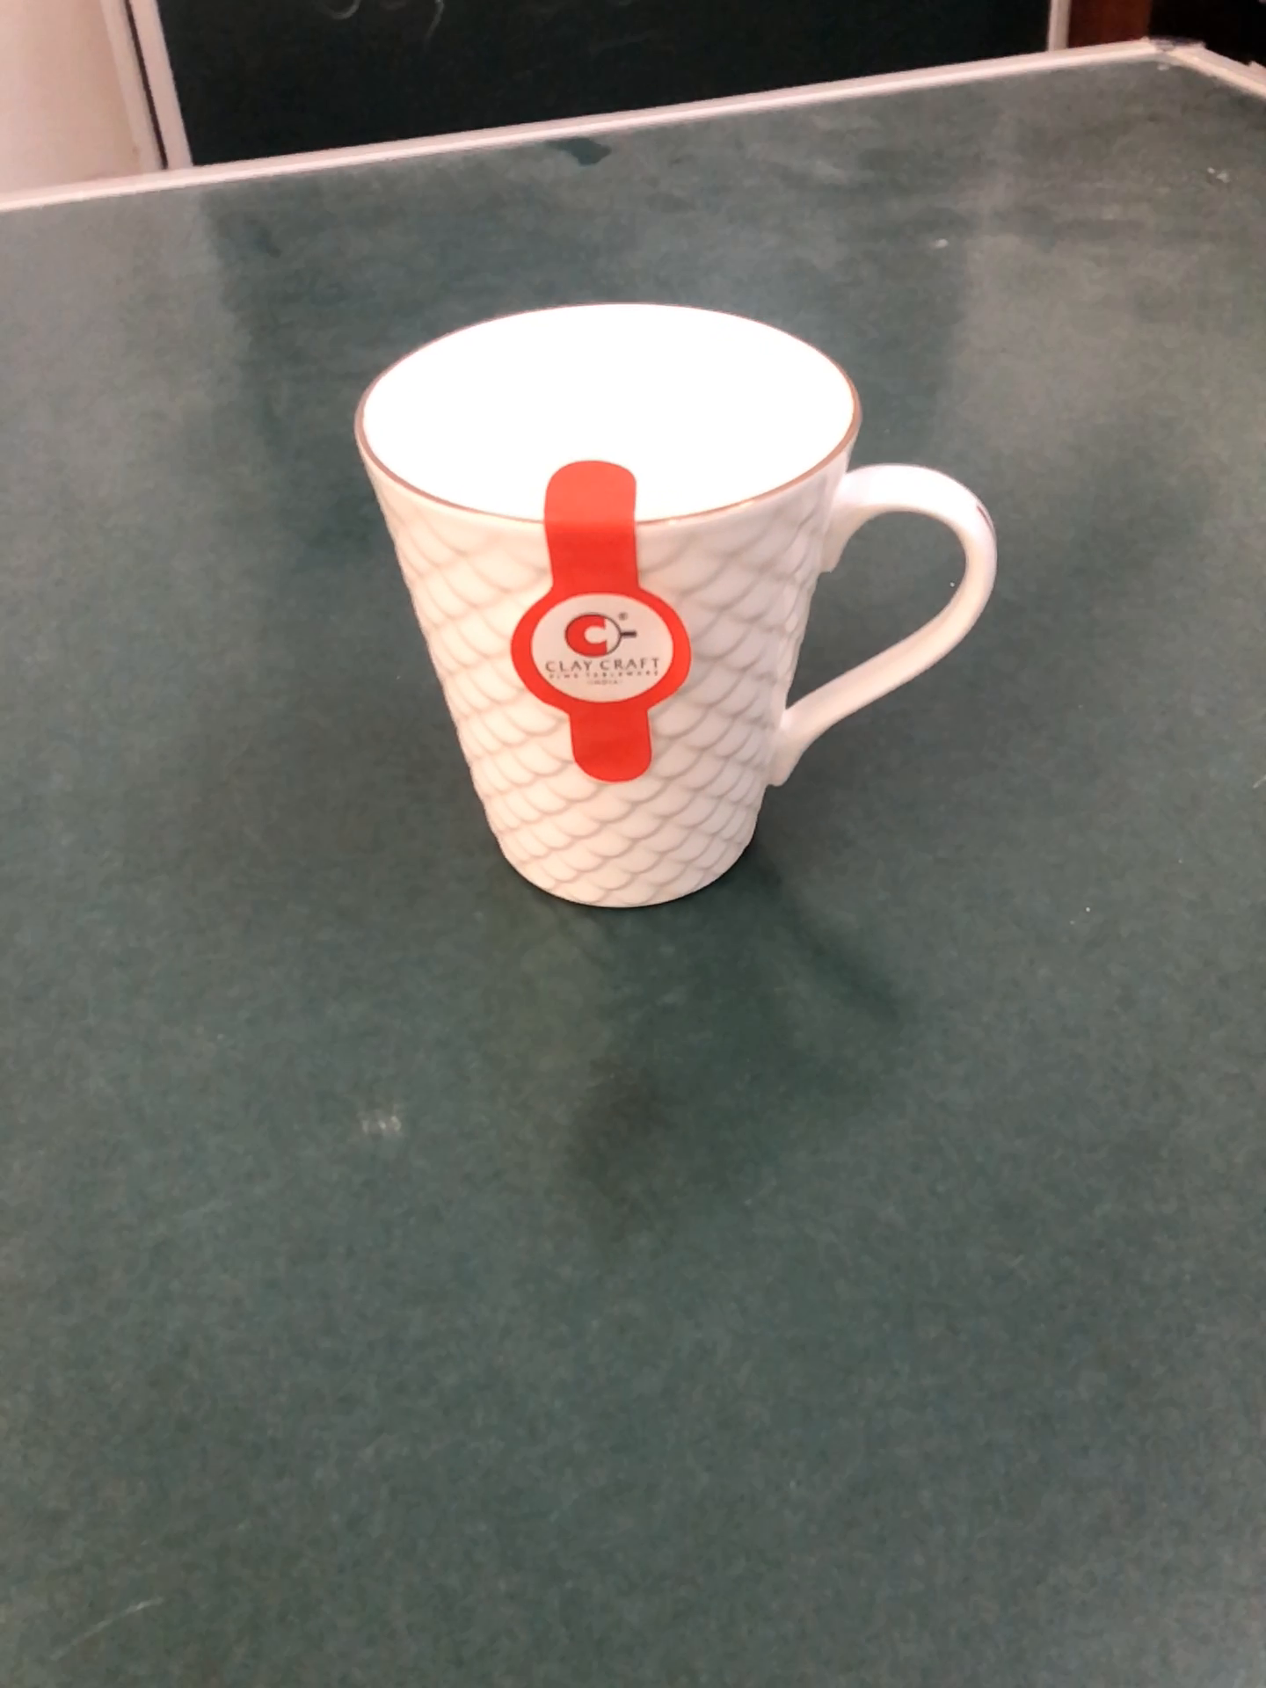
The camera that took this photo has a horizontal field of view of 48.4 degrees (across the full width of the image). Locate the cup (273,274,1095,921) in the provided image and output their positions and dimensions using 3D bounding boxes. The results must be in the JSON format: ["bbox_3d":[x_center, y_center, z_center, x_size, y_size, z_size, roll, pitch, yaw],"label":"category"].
[{"bbox_3d":[0.010,-0.046,0.266,0.120,0.090,0.080,0,42,3],"label":"cup"}]
